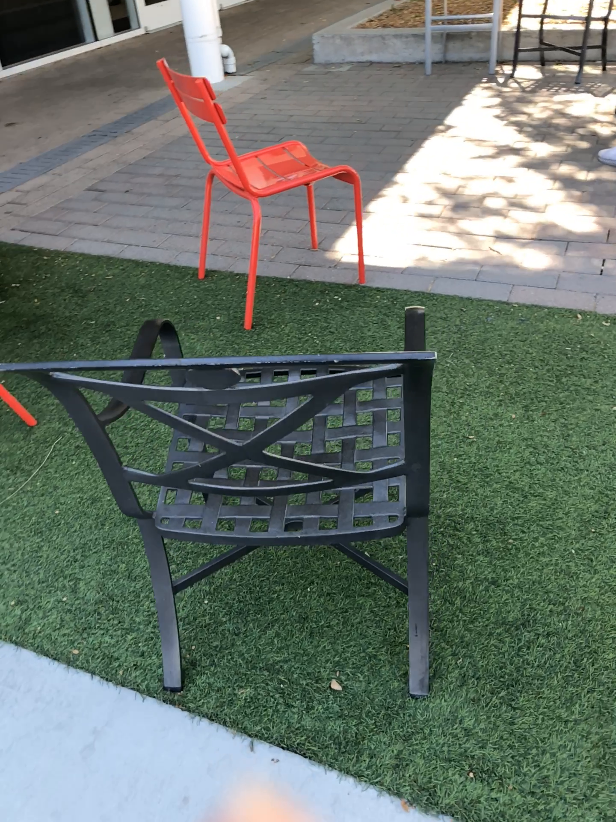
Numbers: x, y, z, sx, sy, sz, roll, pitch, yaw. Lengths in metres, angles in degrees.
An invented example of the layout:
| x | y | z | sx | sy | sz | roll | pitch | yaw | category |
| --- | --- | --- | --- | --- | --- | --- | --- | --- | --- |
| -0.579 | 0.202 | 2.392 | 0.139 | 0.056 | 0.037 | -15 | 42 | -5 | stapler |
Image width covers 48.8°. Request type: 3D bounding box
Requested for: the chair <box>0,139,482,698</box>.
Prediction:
| x | y | z | sx | sy | sz | roll | pitch | yaw | category |
| --- | --- | --- | --- | --- | --- | --- | --- | --- | --- |
| -0.069 | 0.022 | 1.289 | 0.640 | 0.806 | 0.643 | -1 | 39 | 6 | chair |
